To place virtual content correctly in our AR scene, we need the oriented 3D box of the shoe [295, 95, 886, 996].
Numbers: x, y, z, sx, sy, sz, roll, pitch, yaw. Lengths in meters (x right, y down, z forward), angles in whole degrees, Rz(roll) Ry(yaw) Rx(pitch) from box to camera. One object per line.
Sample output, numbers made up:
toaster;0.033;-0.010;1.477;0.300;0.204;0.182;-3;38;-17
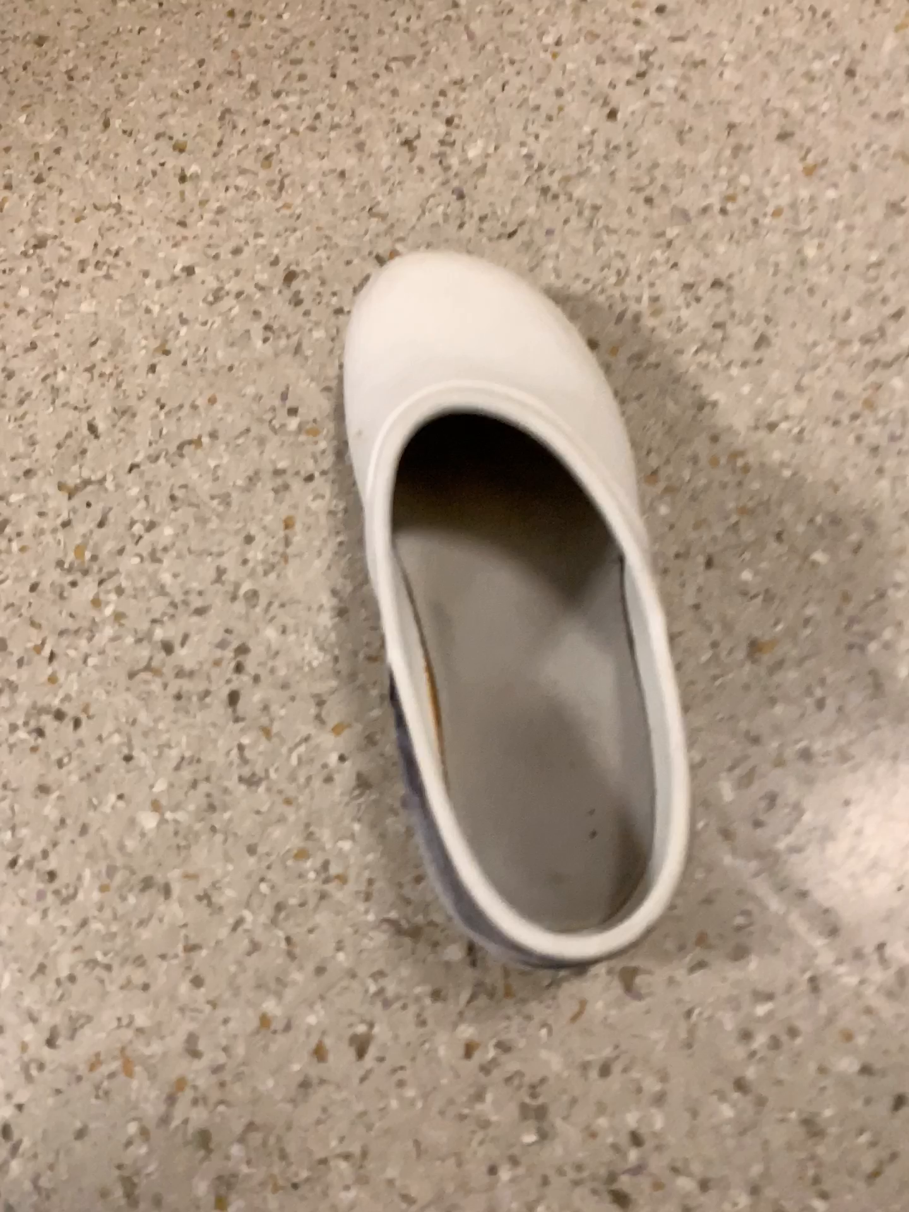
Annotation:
shoe;0.026;-0.021;0.297;0.107;0.101;0.255;-12;66;4
